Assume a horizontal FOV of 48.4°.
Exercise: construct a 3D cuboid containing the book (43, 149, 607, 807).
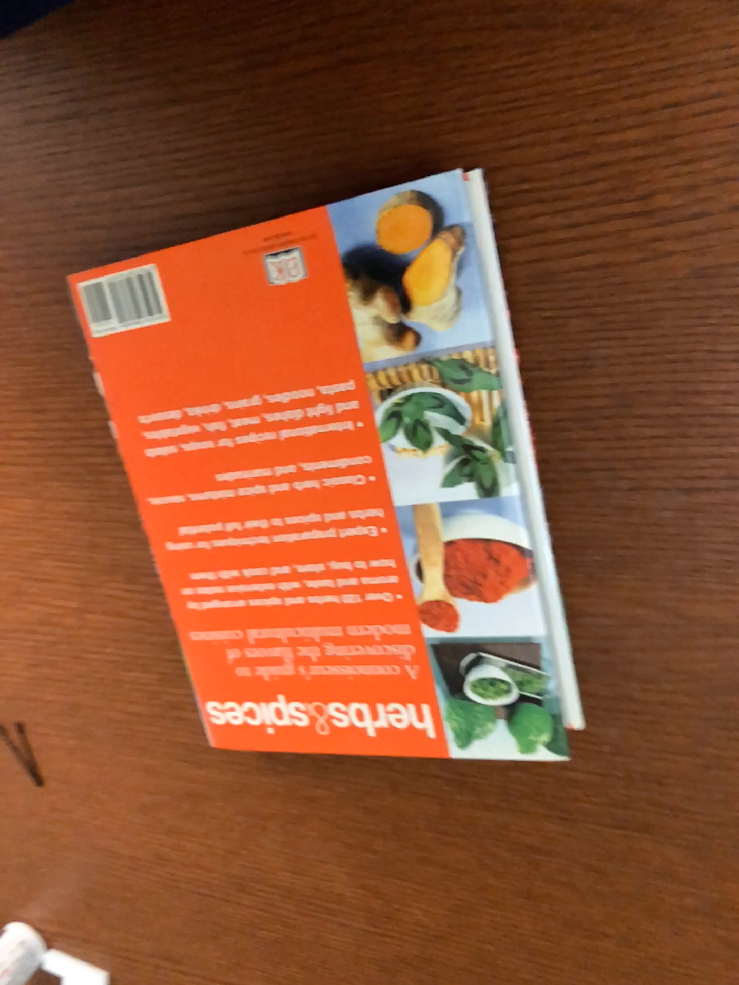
[{"bbox_3d":[-0.016,0.010,0.379,0.211,0.040,0.270,-5,107,24],"label":"book"}]
